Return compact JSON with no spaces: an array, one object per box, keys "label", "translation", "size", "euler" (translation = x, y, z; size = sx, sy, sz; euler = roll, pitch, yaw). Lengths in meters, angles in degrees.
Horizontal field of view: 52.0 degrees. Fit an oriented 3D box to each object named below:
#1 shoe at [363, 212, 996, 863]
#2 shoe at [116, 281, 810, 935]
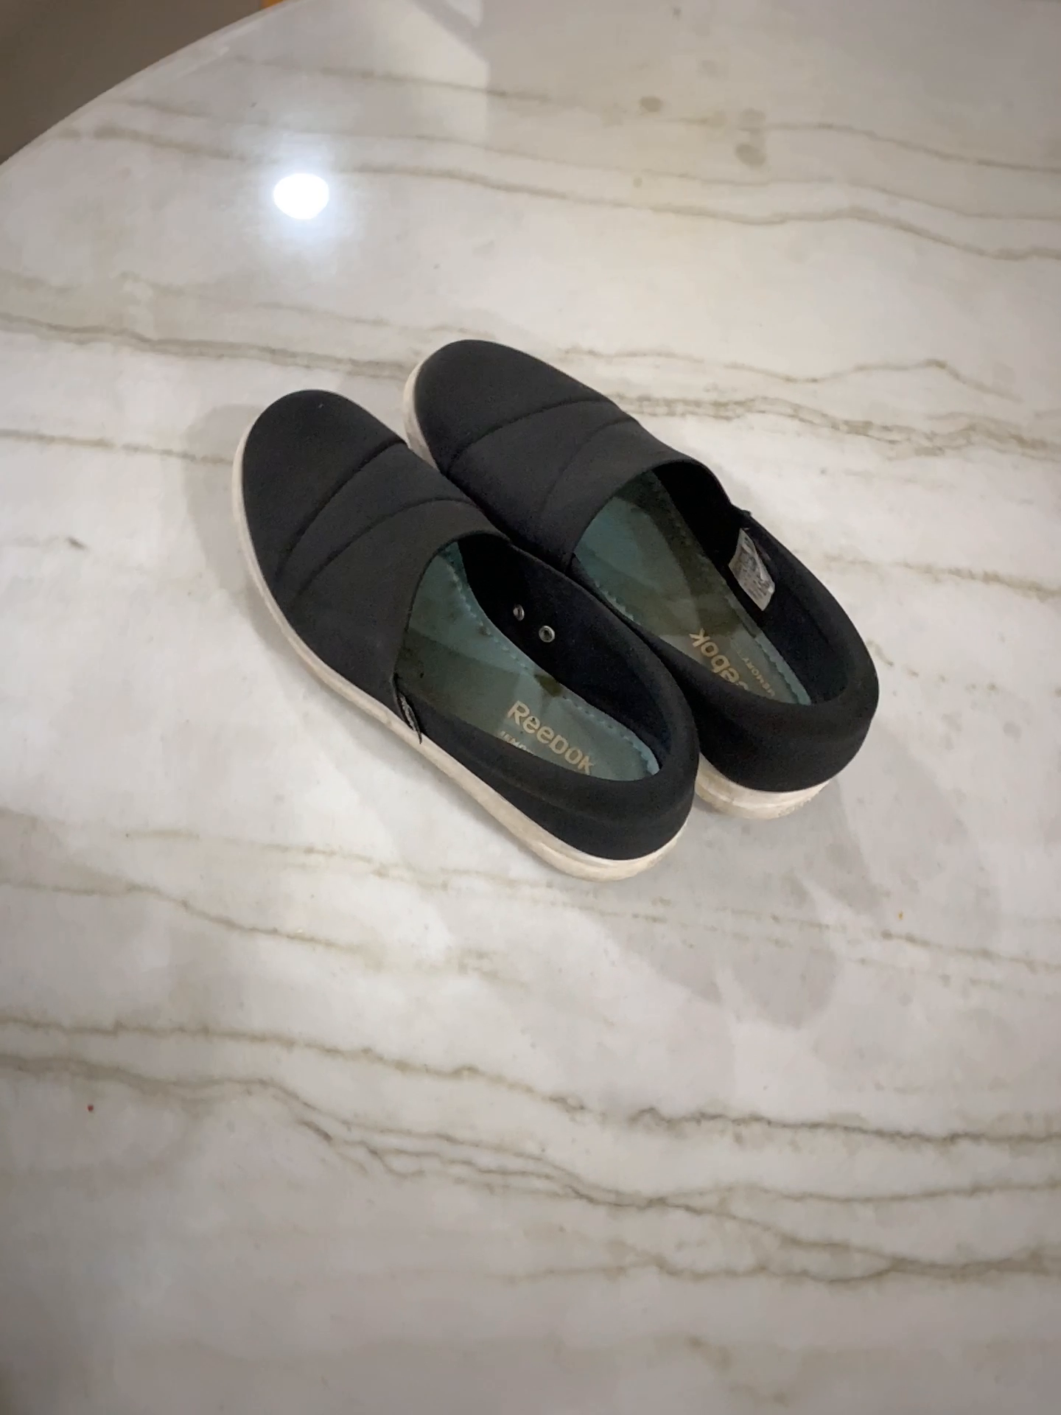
[{"label":"shoe","translation":[0.044,-0.067,0.412],"size":[0.091,0.079,0.229],"euler":[-36,74,-18]},{"label":"shoe","translation":[-0.028,-0.038,0.394],"size":[0.229,0.079,0.091],"euler":[41,70,13]}]
